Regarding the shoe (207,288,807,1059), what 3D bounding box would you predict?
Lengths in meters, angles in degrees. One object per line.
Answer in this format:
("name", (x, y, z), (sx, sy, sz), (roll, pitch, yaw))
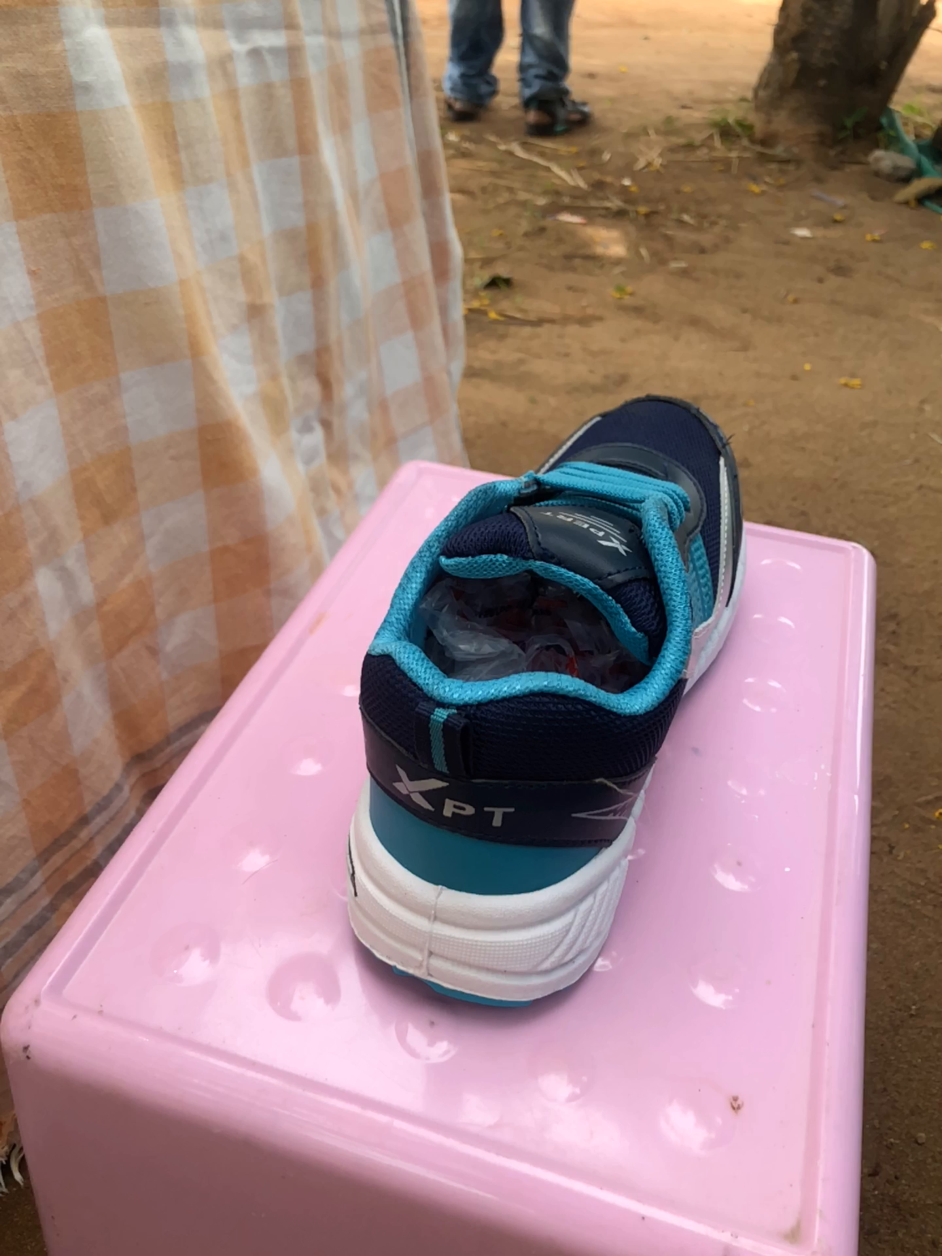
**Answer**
("shoe", (0.035, -0.016, 0.366), (0.110, 0.109, 0.272), (14, 38, 15))
